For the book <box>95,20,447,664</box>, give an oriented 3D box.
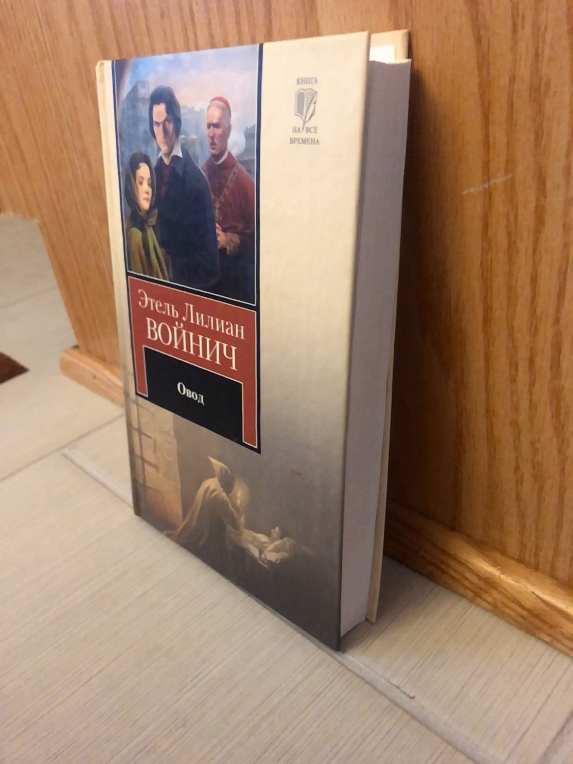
[{"bbox_3d":[-0.016,-0.016,0.250,0.030,0.203,0.139,-19,28,-42],"label":"book"}]
